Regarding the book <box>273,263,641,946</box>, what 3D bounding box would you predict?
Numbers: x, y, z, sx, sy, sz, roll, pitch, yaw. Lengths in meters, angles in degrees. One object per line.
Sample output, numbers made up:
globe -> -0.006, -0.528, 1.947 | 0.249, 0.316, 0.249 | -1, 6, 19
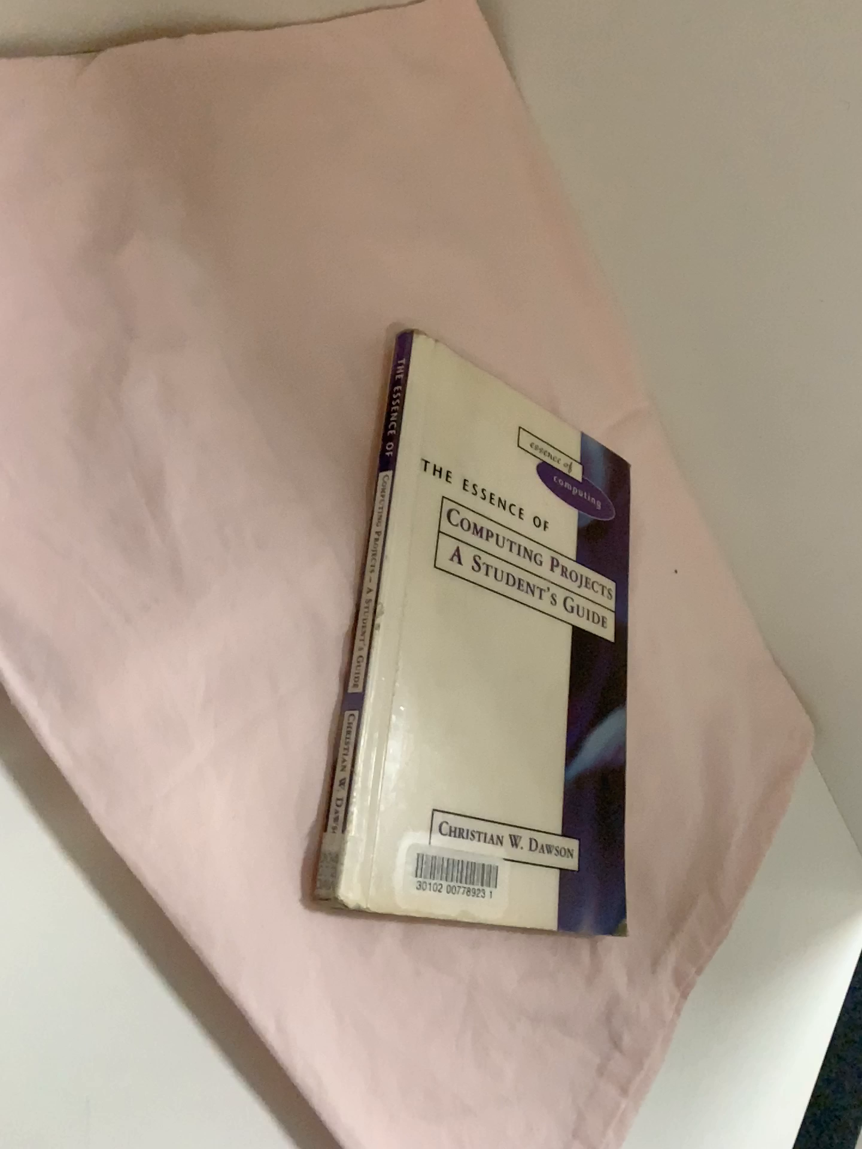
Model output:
book -> 0.030, 0.016, 0.387 | 0.171, 0.020, 0.261 | 22, 63, -36
